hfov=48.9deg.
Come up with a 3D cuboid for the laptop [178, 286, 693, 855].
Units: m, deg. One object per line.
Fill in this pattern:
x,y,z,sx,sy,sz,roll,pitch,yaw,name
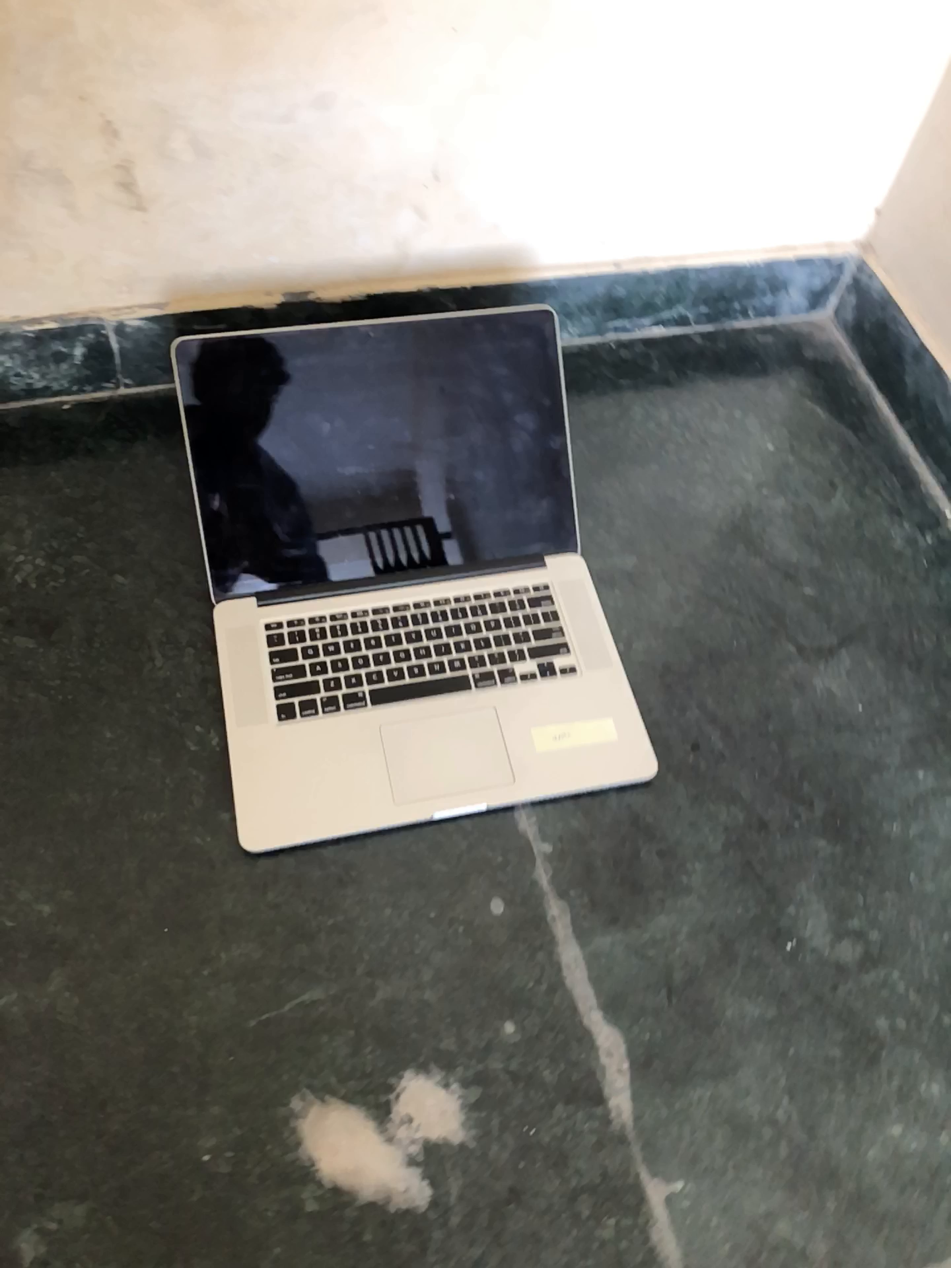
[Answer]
-0.054,-0.079,0.905,0.343,0.130,0.434,-9,61,-13,laptop
